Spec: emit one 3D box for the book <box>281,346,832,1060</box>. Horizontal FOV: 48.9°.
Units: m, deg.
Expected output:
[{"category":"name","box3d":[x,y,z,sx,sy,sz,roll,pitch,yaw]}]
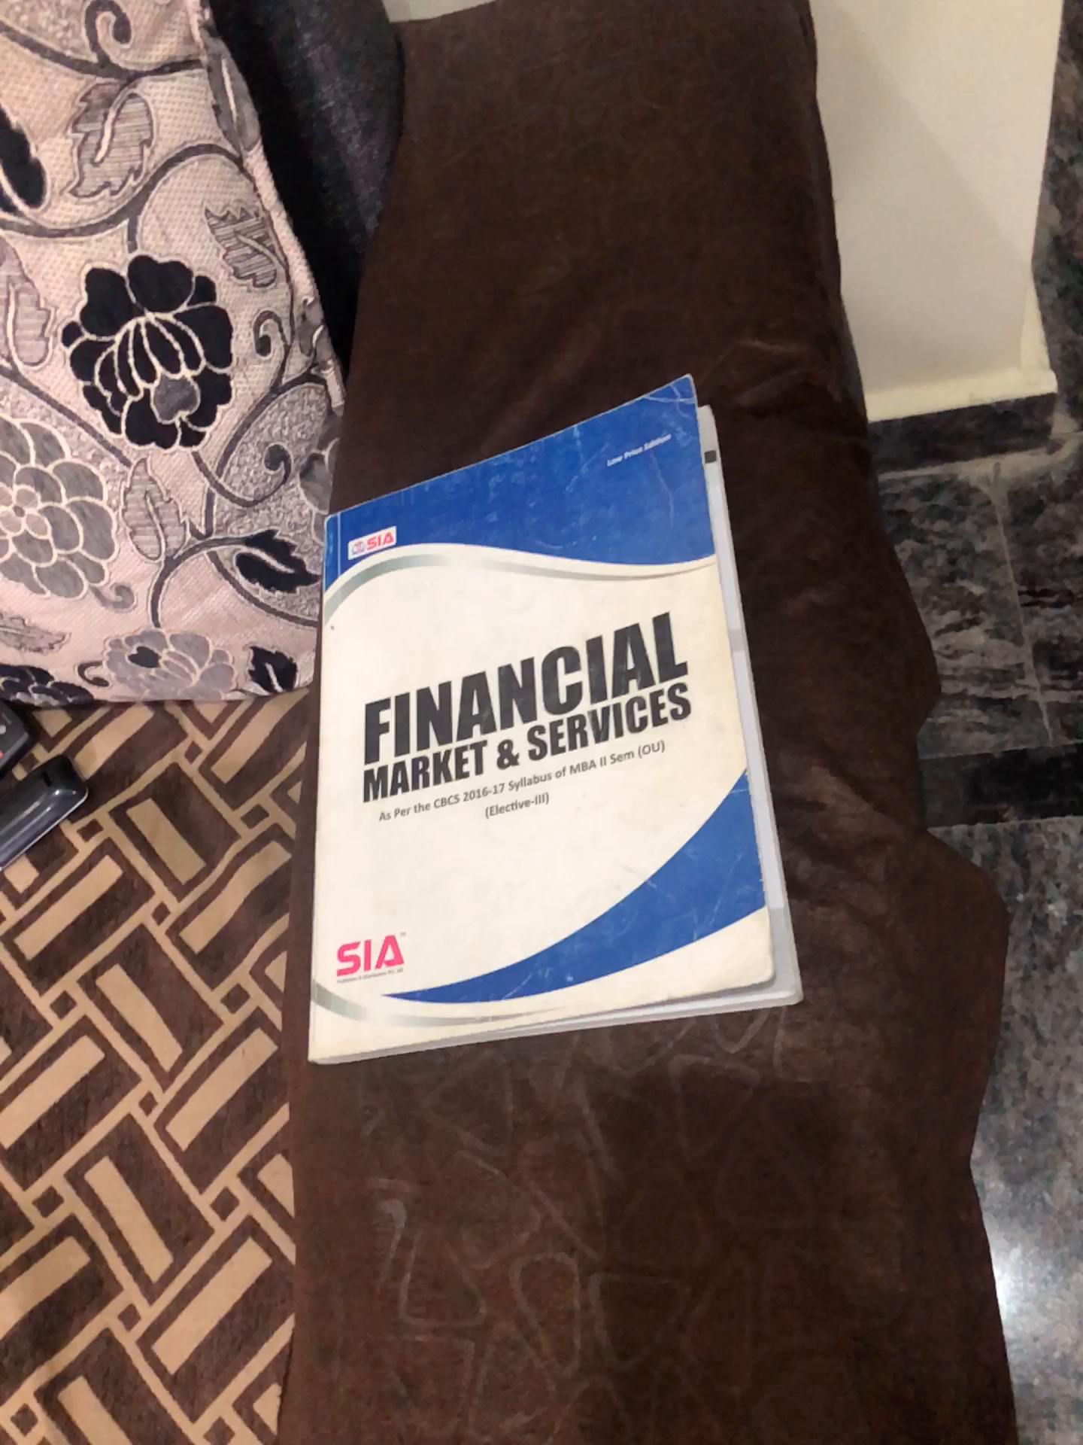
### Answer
[{"category":"book","box3d":[-0.008,-0.016,0.546,0.220,0.040,0.300,-12,63,13]}]
